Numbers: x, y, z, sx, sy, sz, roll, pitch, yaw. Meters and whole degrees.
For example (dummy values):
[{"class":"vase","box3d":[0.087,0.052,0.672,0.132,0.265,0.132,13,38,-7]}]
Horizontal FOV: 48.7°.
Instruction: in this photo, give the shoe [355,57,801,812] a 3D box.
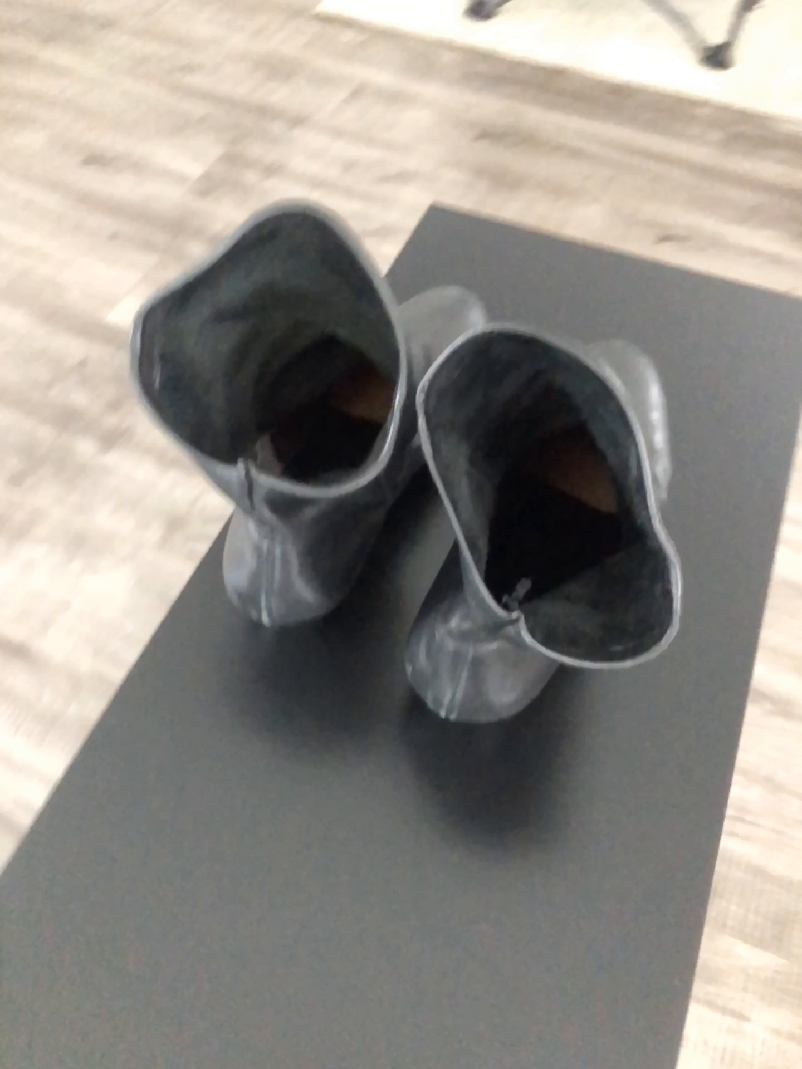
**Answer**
[{"class":"shoe","box3d":[0.077,-0.047,0.370,0.101,0.170,0.250,18,55,11]}]

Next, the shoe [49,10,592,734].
[{"class":"shoe","box3d":[-0.012,-0.078,0.392,0.101,0.170,0.260,18,55,11]}]
